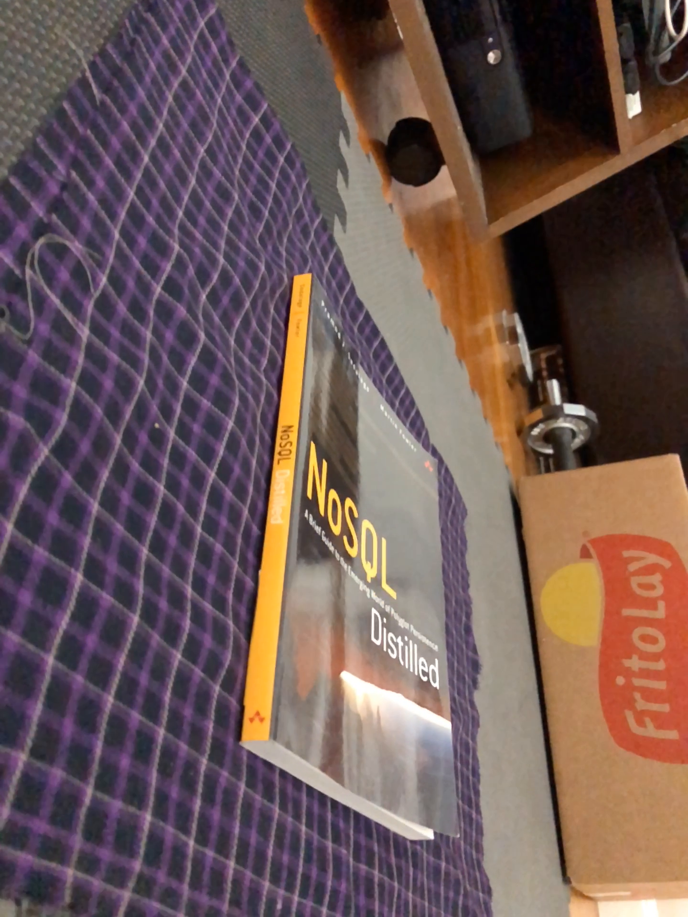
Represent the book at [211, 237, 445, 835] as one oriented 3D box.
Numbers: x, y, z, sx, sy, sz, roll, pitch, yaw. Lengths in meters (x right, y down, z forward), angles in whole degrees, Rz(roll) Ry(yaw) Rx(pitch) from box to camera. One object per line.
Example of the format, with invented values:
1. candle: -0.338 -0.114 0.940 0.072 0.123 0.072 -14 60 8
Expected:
1. book: 0.006 0.040 0.395 0.190 0.020 0.251 53 30 -47
